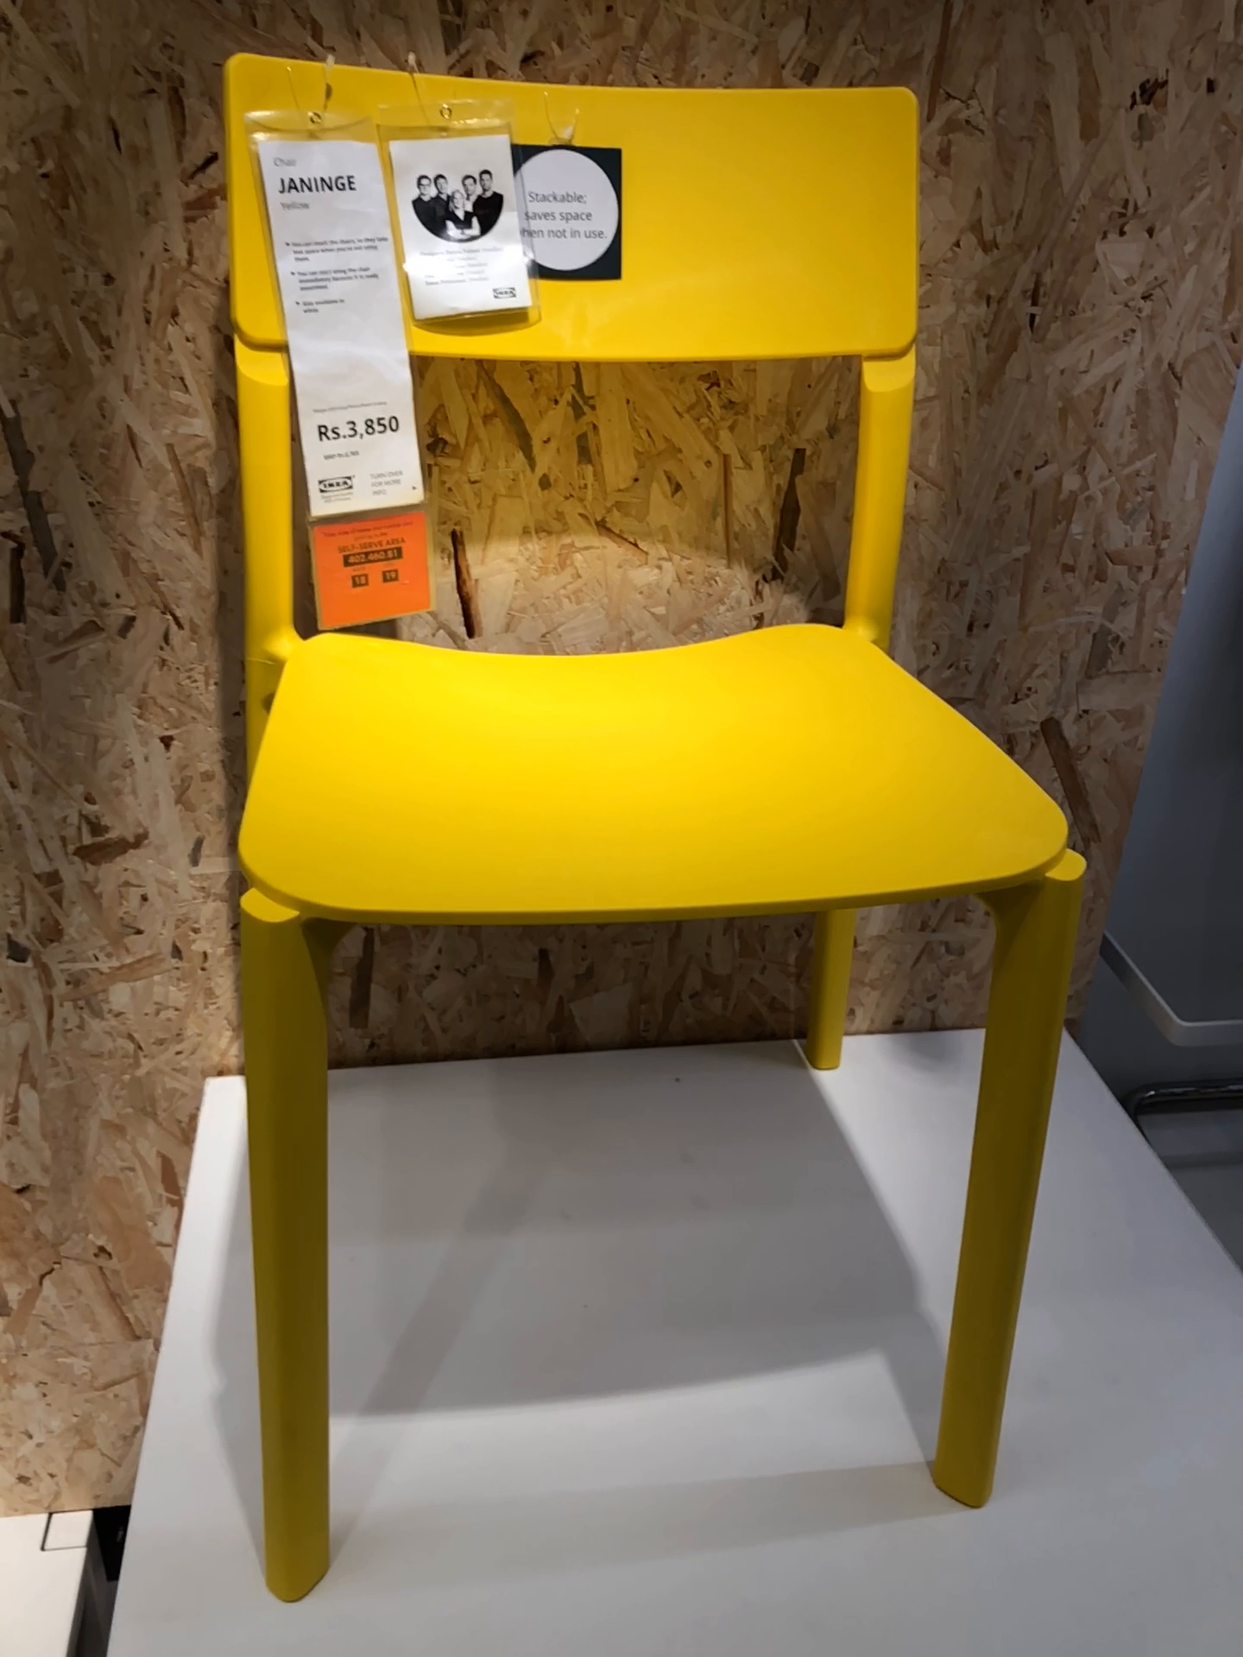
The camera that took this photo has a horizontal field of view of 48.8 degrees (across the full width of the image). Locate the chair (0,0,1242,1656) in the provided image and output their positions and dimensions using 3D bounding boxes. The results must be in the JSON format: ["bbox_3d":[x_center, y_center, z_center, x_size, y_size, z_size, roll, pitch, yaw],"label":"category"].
[{"bbox_3d":[-0.004,-0.030,0.711,0.460,0.676,0.463,-3,28,-10],"label":"chair"}]
